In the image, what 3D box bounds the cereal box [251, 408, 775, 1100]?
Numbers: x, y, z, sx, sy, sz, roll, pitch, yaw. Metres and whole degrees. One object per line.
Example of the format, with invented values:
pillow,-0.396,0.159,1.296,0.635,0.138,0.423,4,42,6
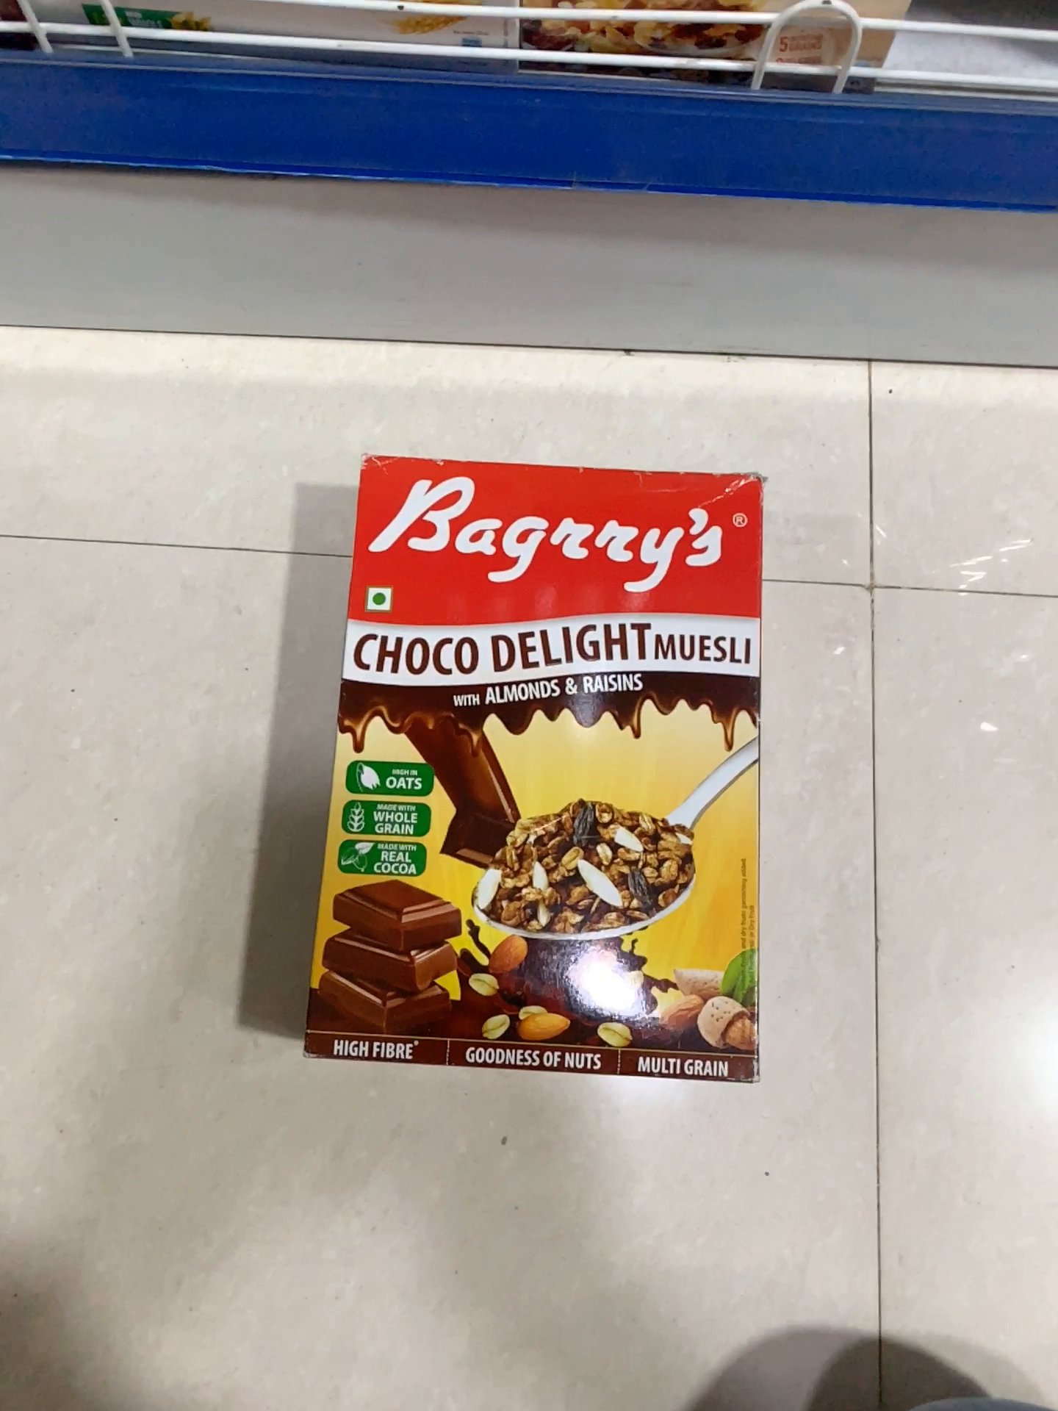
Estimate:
cereal box,0.001,0.019,0.487,0.200,0.080,0.280,3,77,1
